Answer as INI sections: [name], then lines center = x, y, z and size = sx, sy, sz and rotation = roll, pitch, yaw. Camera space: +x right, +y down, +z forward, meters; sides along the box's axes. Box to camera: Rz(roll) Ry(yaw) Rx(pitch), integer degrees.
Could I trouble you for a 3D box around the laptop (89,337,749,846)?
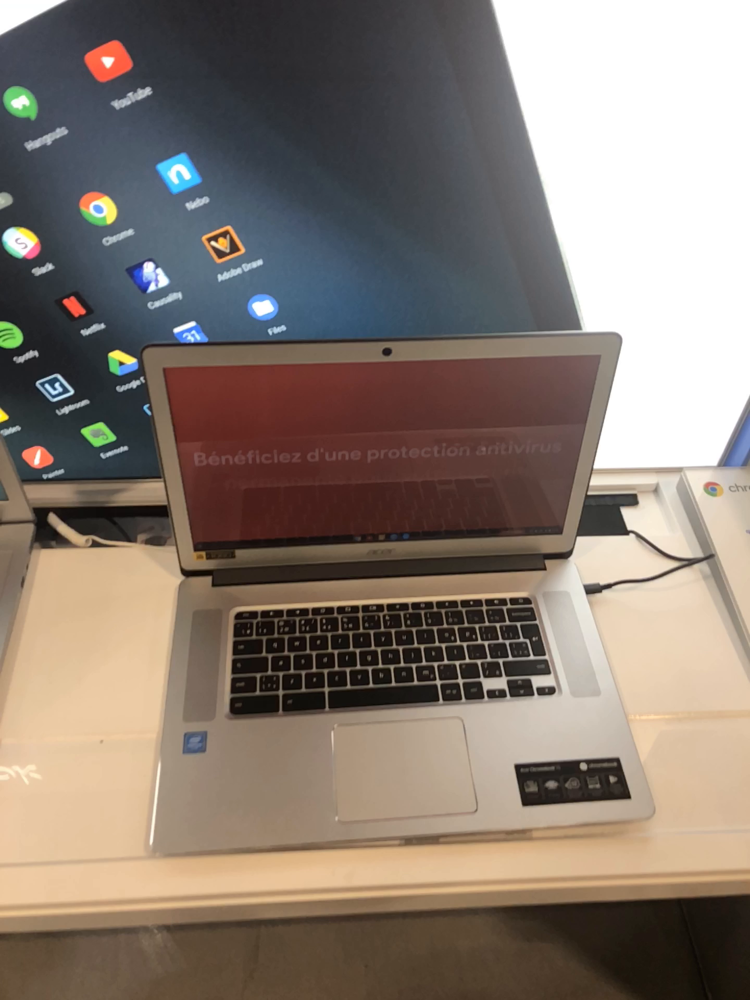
[laptop]
center = 0.018, 0.062, 0.629
size = 0.371, 0.243, 0.283
rotation = -3, 47, -5
